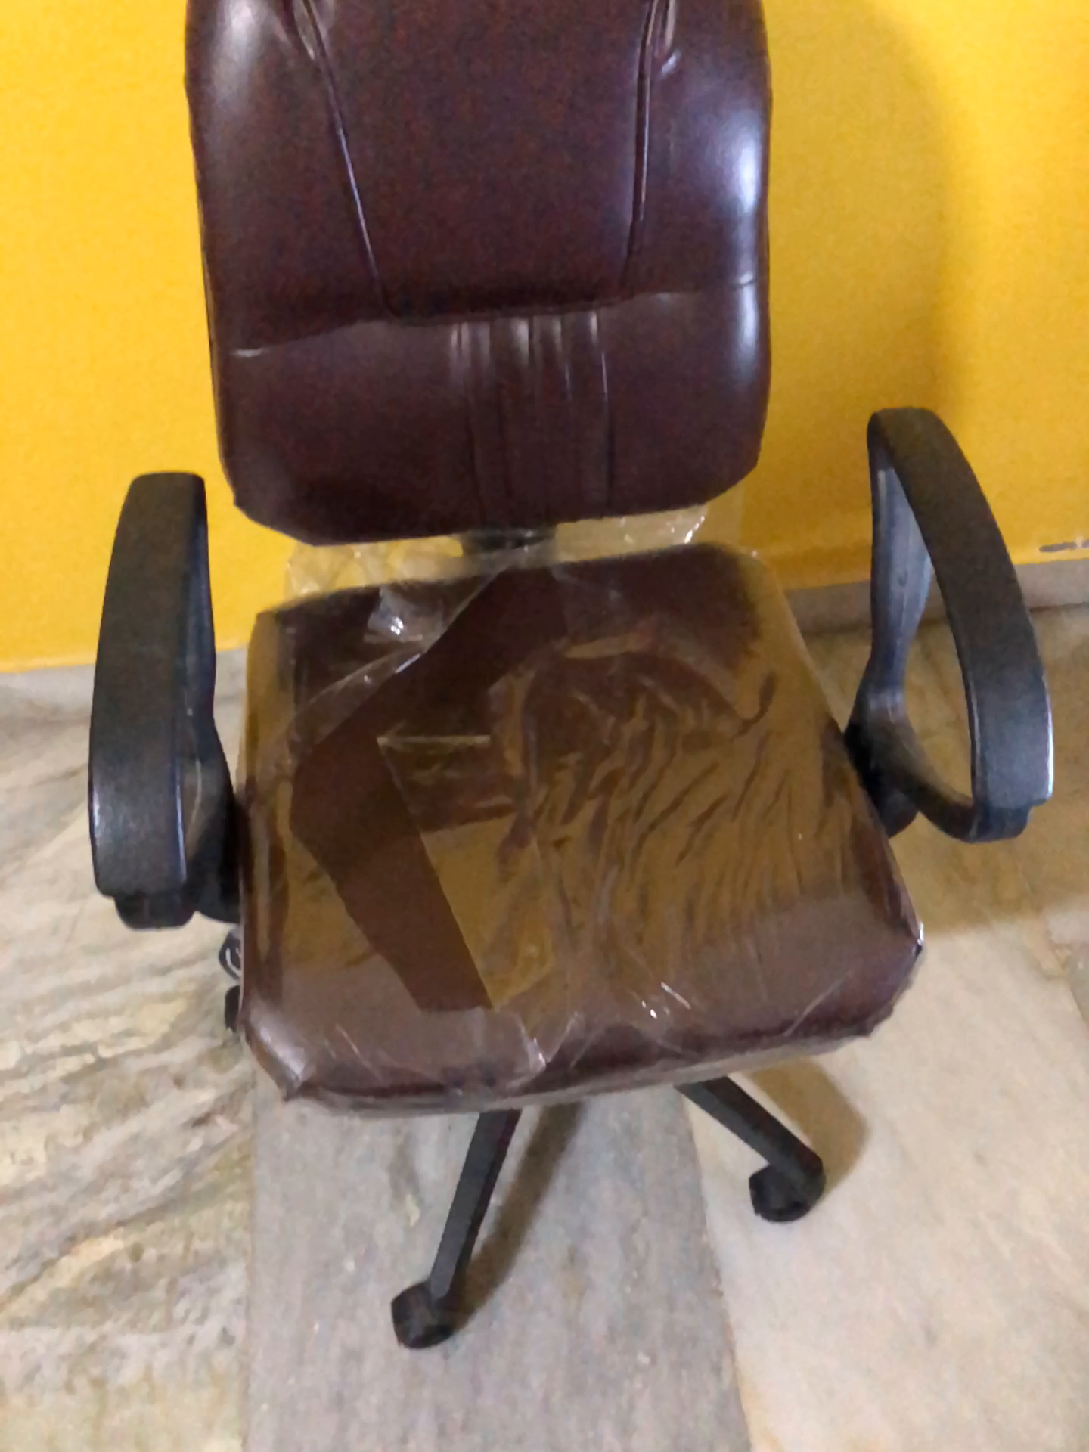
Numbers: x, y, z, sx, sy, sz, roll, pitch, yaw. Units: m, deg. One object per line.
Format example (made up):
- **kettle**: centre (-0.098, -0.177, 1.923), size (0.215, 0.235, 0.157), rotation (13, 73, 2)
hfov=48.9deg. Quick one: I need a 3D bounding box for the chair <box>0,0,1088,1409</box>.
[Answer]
- **chair**: centre (-0.010, -0.025, 0.909), size (0.690, 0.974, 0.684), rotation (-10, 52, -6)
